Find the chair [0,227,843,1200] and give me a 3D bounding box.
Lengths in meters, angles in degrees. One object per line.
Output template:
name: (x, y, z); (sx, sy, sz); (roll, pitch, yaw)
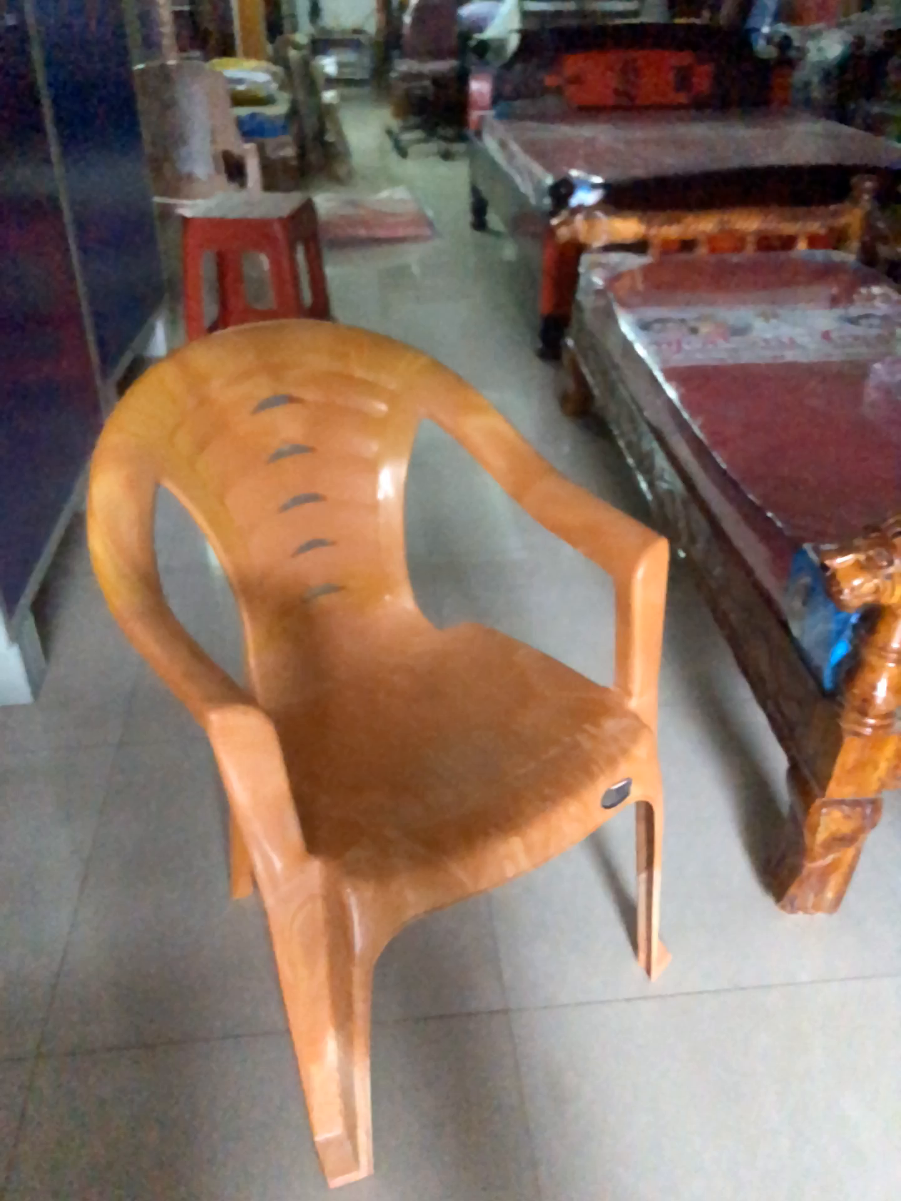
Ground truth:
chair: (-0.068, 0.091, 1.191); (0.632, 0.846, 0.601); (-21, 38, -30)
